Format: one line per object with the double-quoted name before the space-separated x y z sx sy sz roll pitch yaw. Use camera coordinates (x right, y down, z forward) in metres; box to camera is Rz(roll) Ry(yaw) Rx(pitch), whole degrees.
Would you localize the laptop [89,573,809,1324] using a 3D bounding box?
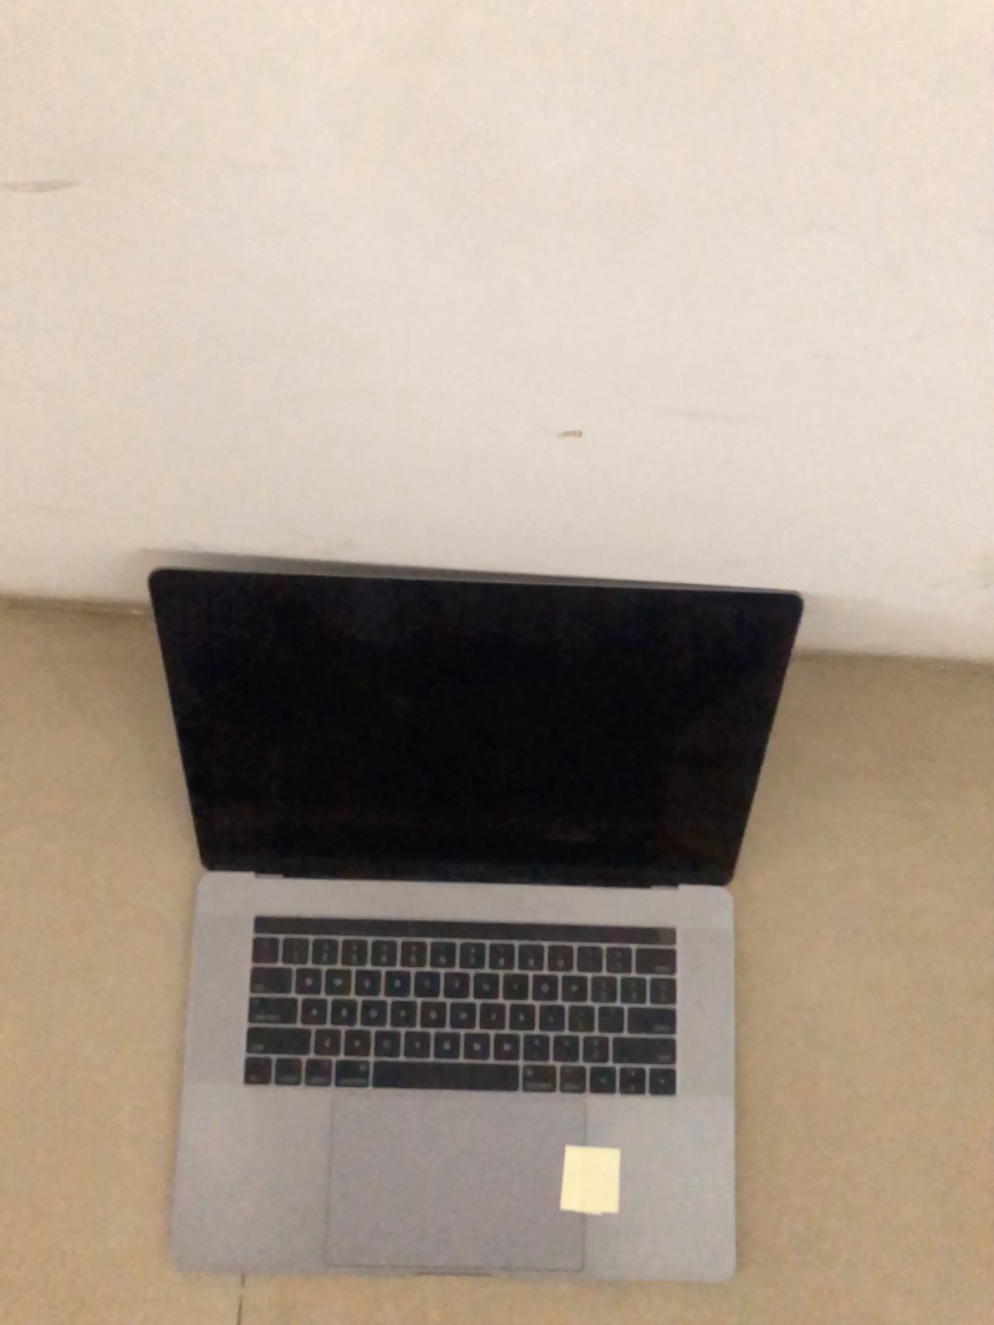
"laptop" -0.017 0.163 0.611 0.329 0.163 0.380 2 81 -1
